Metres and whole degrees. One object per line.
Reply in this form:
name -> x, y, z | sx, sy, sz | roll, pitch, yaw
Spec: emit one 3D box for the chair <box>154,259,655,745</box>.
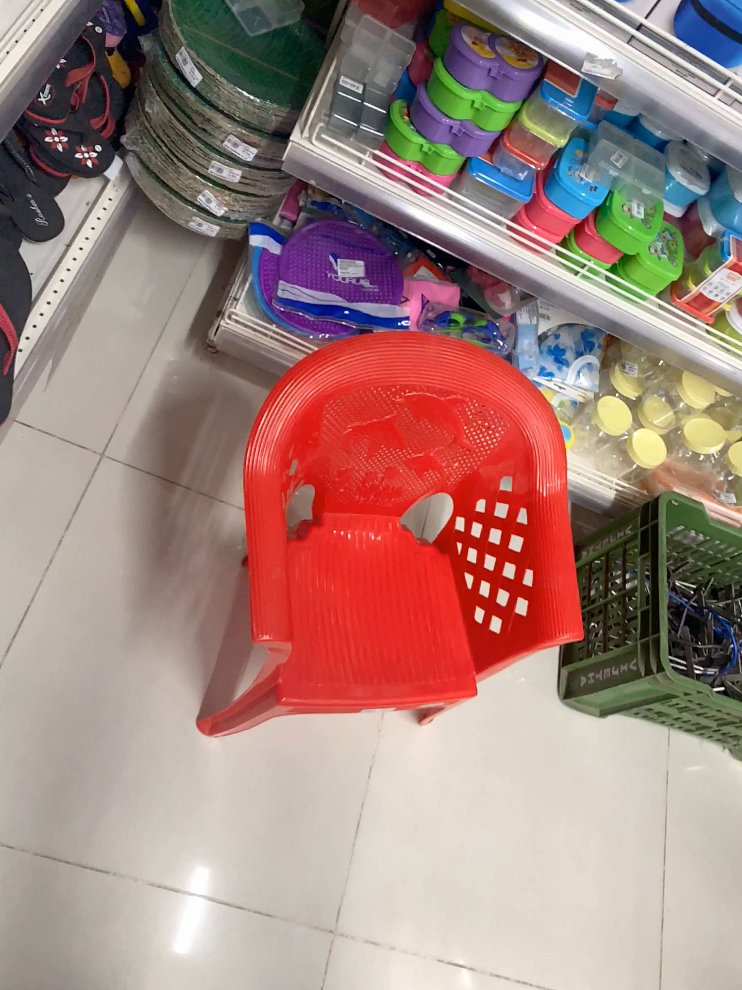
chair -> -0.009, 0.065, 1.085 | 0.501, 0.479, 0.490 | 6, 65, -21
